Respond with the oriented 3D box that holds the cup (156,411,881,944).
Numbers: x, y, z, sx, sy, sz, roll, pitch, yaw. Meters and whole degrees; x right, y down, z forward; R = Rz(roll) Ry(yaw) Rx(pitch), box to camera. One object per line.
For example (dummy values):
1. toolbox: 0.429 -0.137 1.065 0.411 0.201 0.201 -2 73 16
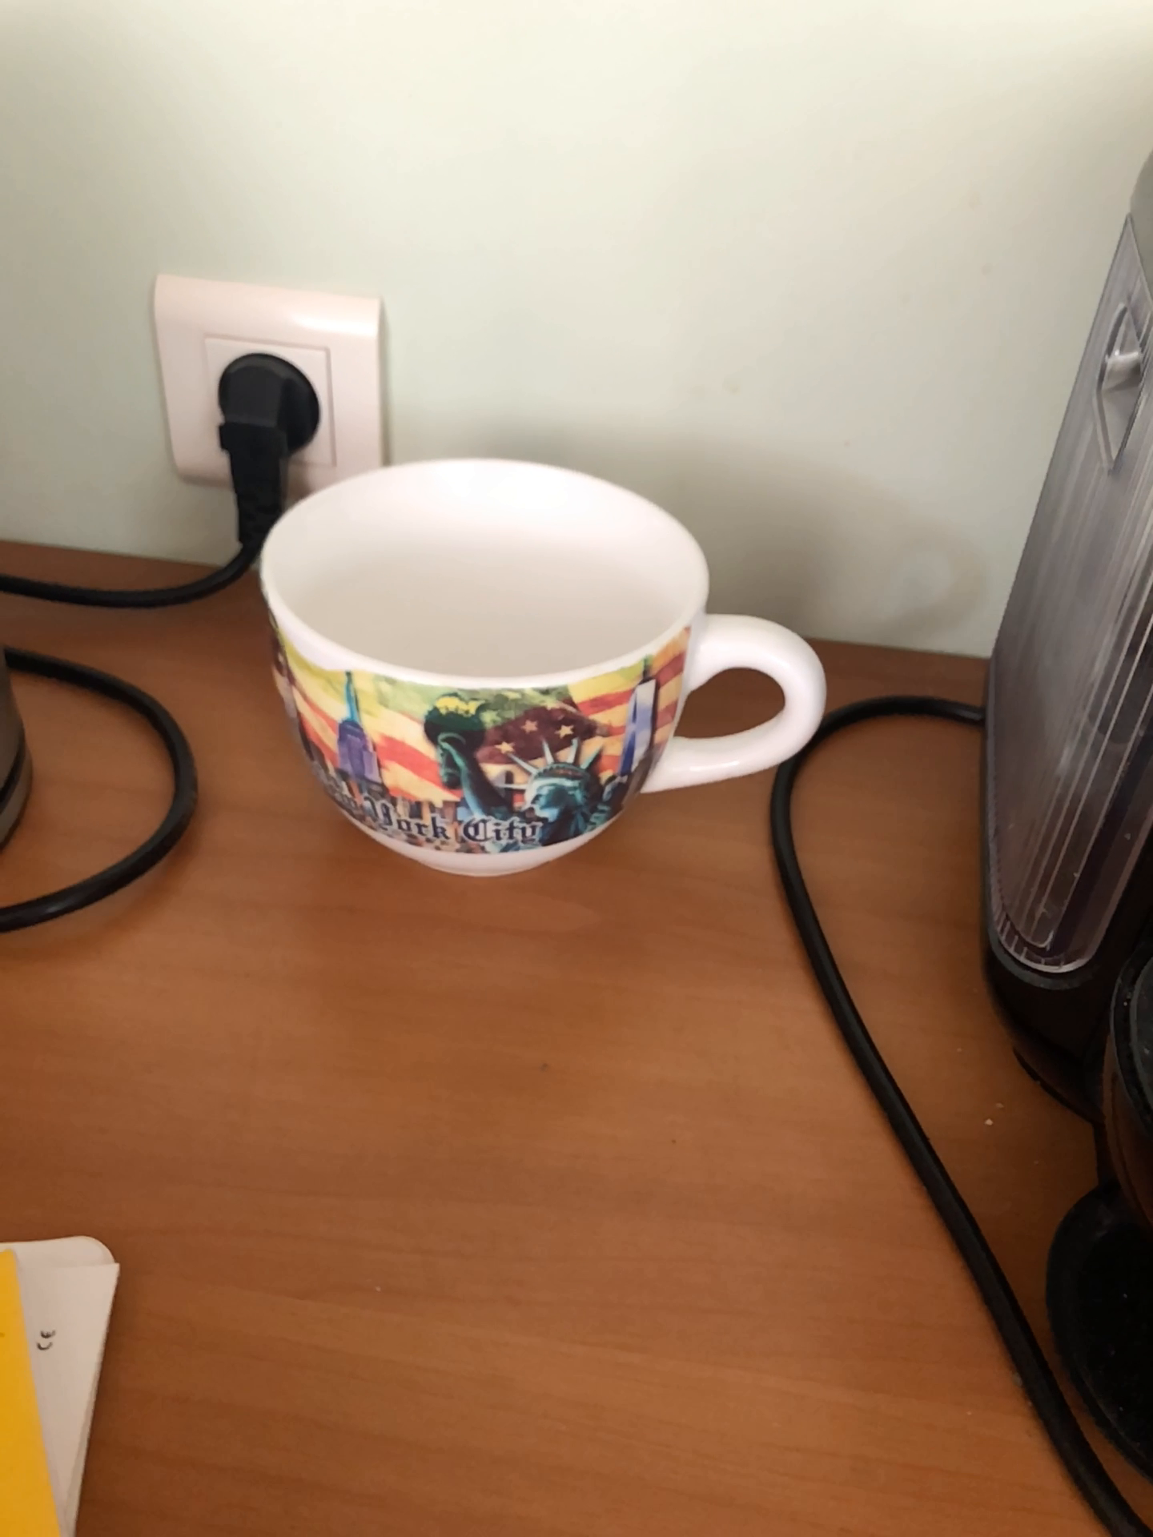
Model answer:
1. cup: -0.008 -0.034 0.369 0.170 0.070 0.121 11 39 8
